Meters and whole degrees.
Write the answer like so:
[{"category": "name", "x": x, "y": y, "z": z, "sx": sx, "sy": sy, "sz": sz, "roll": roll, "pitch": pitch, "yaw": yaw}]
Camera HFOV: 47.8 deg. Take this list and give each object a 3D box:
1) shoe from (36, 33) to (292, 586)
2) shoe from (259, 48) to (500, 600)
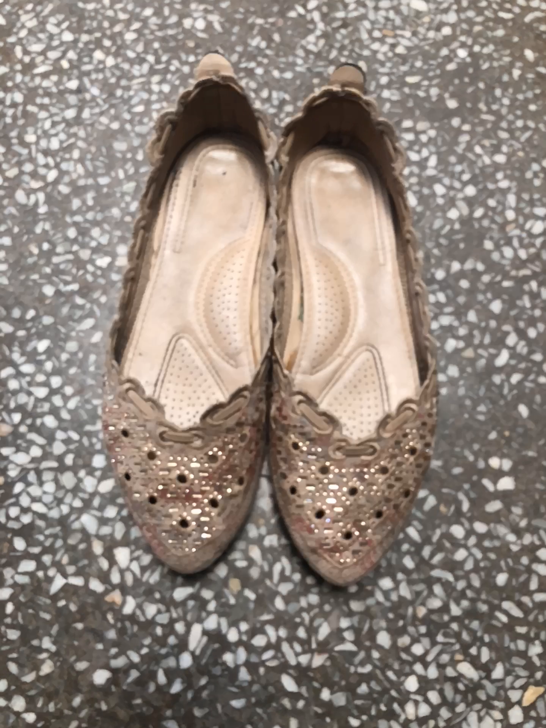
[{"category": "shoe", "x": -0.042, "y": -0.030, "z": 0.305, "sx": 0.089, "sy": 0.068, "sz": 0.254, "roll": 3, "pitch": 74, "yaw": -2}, {"category": "shoe", "x": 0.040, "y": -0.024, "z": 0.304, "sx": 0.089, "sy": 0.068, "sz": 0.254, "roll": 0, "pitch": 75, "yaw": -3}]
